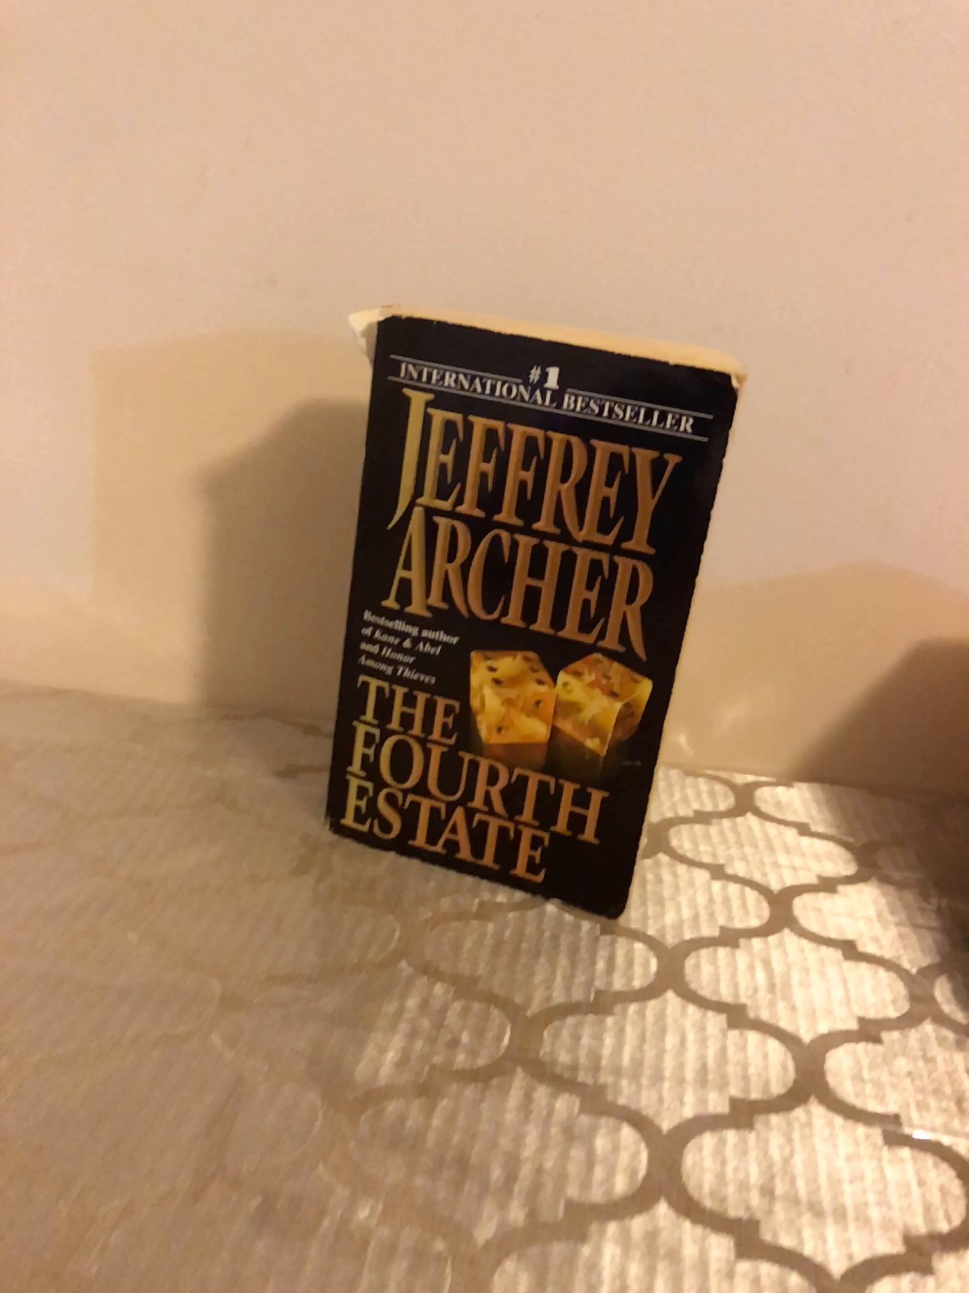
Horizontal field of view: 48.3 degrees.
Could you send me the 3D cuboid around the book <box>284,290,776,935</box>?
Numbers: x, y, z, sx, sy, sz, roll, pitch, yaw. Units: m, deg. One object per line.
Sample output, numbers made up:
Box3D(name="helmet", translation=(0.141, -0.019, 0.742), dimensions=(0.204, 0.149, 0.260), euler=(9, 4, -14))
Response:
Box3D(name="book", translation=(0.011, -0.015, 0.339), dimensions=(0.120, 0.169, 0.060), euler=(13, 19, 15))
